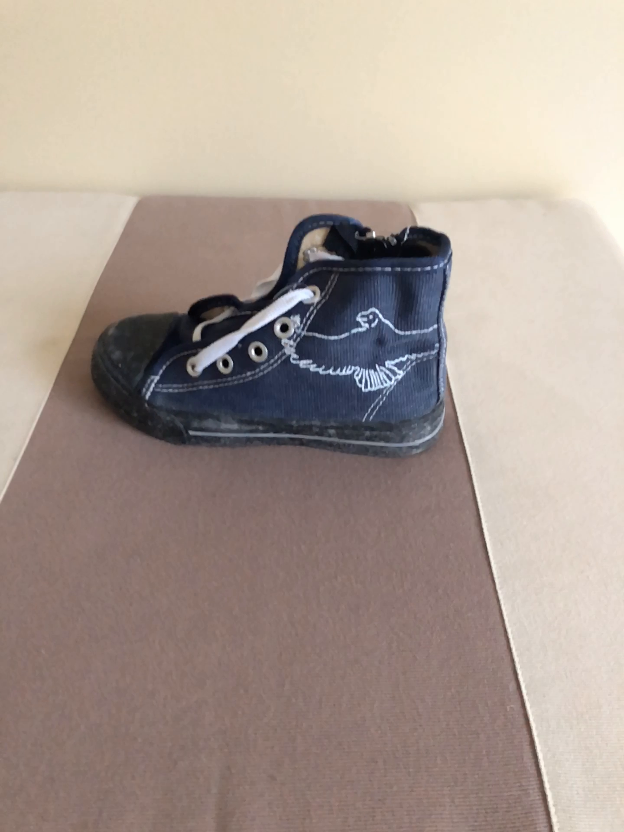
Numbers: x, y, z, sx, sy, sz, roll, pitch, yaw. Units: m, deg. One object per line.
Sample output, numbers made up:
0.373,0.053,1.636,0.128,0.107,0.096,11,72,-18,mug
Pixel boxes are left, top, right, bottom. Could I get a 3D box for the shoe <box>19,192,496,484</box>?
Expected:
-0.020,-0.042,0.353,0.200,0.099,0.091,5,41,4,shoe
